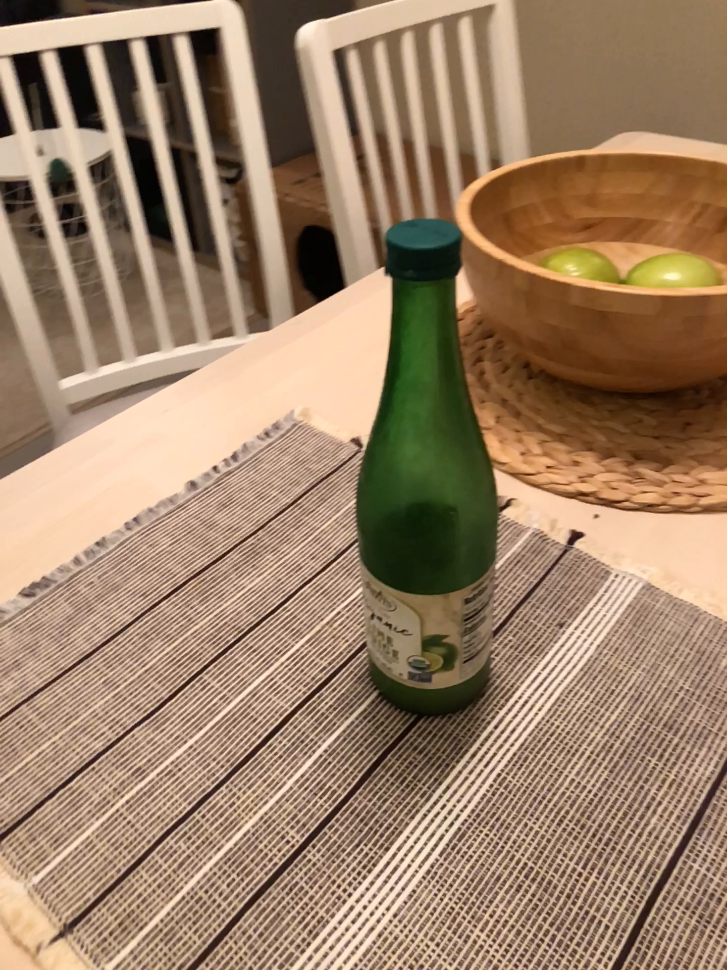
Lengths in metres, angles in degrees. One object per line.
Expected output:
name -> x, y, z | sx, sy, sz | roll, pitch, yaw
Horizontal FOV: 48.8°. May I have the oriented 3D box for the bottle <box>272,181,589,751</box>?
bottle -> 0.028, 0.002, 0.361 | 0.081, 0.236, 0.080 | -2, 39, 2
